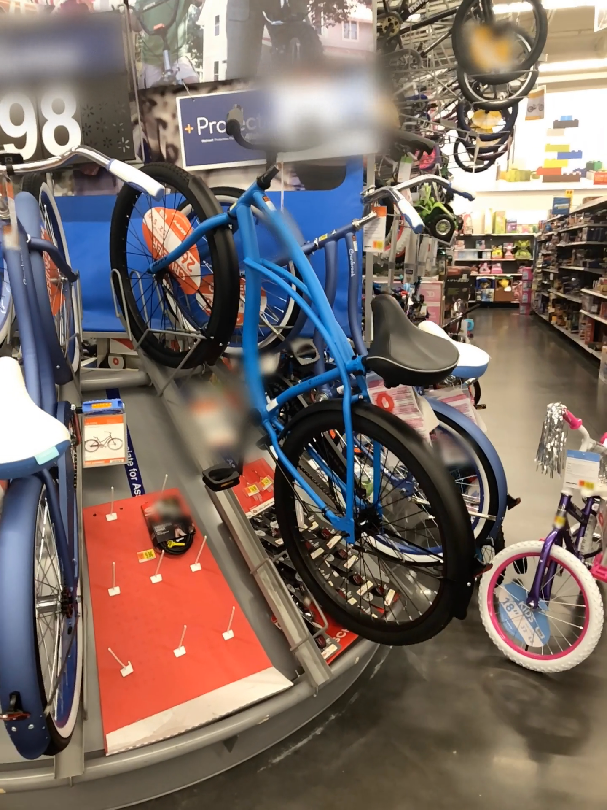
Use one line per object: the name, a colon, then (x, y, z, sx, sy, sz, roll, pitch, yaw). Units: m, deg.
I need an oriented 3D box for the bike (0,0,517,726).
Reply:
bike: (-0.147, -0.571, 1.741, 1.562, 1.121, 0.505, 39, 33, 29)
